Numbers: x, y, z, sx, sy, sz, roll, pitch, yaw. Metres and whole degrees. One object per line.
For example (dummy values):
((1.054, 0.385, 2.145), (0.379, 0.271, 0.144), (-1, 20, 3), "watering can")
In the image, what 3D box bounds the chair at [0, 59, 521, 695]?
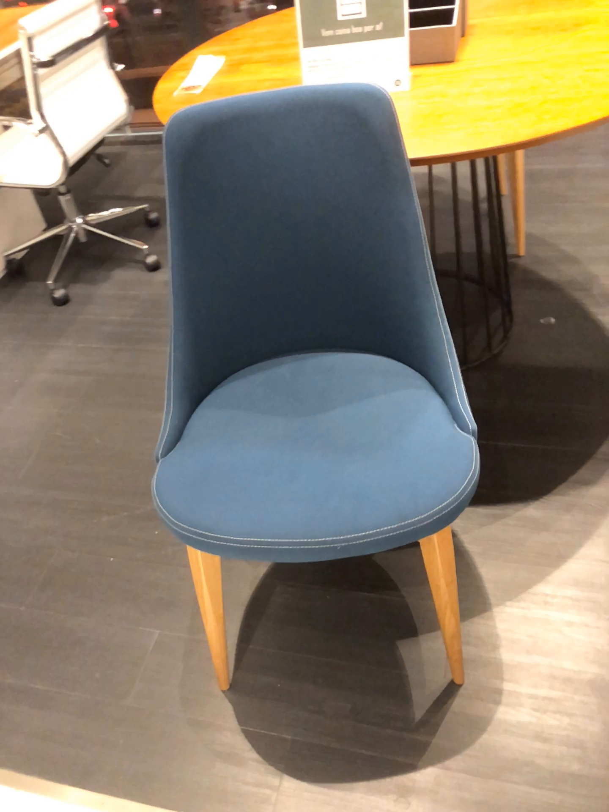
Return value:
((0.002, 0.009, 1.098), (0.520, 0.854, 0.544), (-5, 42, 7), "chair")
